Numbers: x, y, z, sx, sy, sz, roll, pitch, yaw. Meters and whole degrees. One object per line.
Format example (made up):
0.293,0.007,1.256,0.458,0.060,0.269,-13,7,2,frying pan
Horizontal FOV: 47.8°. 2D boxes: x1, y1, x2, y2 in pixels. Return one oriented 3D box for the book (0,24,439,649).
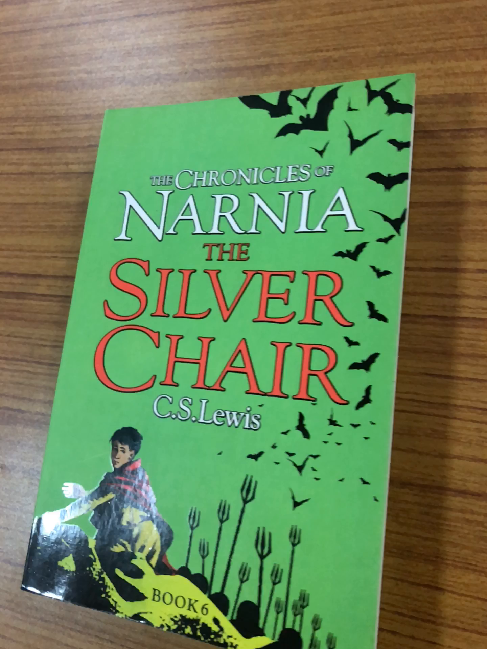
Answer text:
-0.008,0.002,0.205,0.140,0.030,0.210,3,80,20,book
